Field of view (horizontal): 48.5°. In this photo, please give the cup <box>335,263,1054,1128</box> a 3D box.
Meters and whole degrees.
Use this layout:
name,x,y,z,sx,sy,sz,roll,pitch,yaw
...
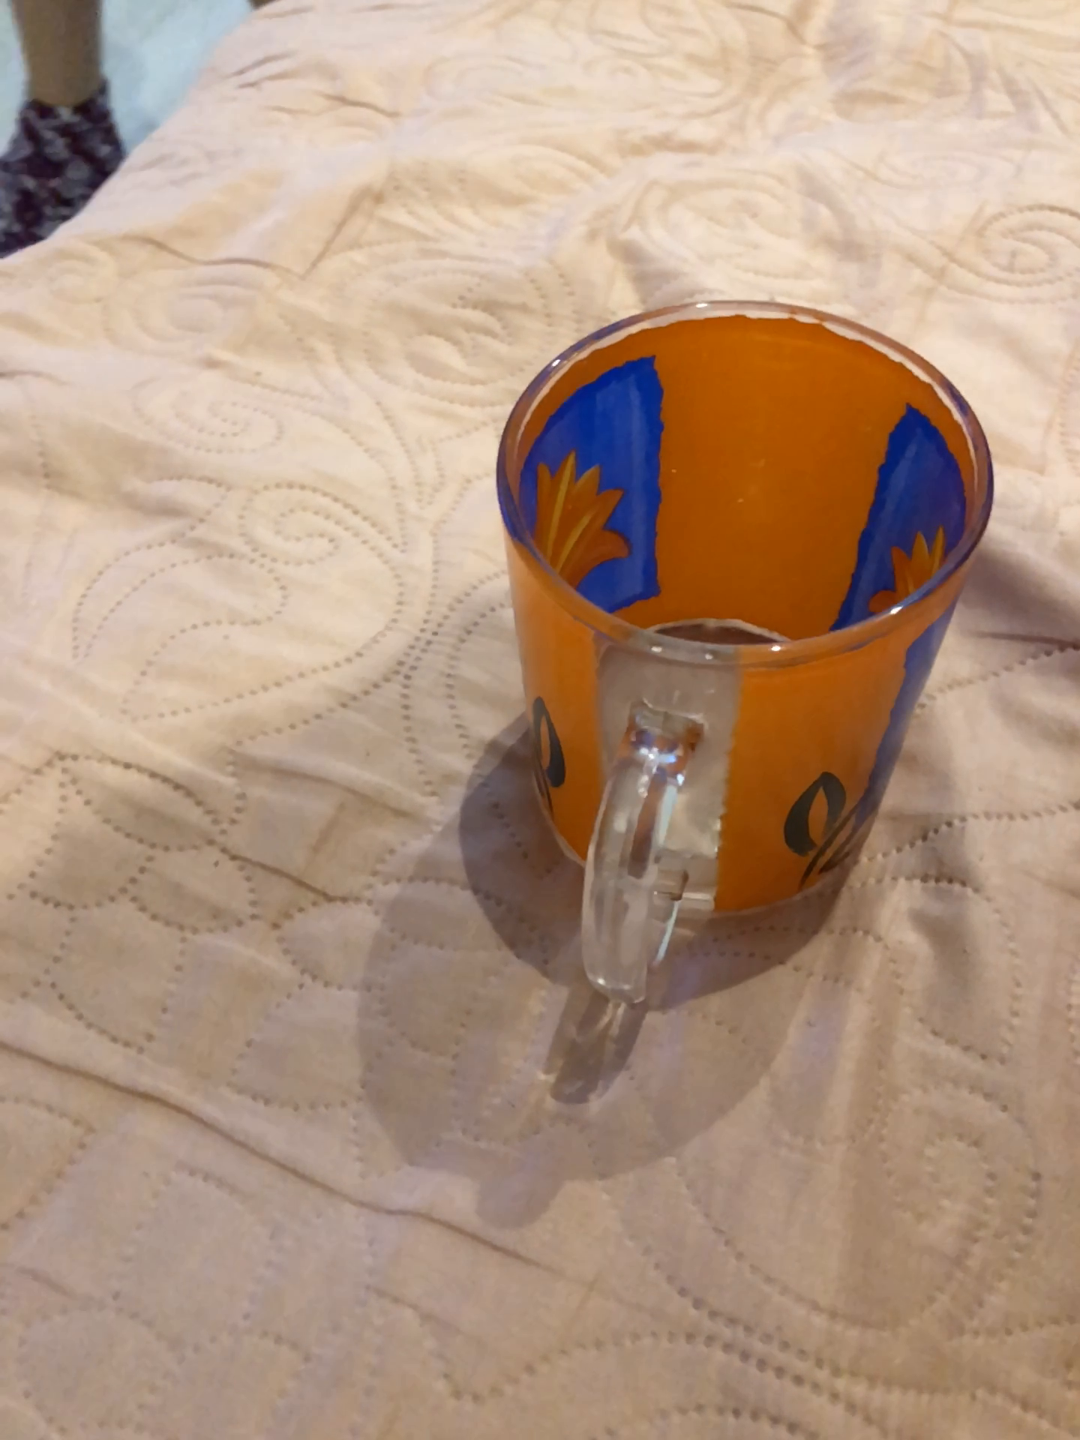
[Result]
name,x,y,z,sx,sy,sz,roll,pitch,yaw
cup,0.032,-0.006,0.219,0.080,0.089,0.111,16,56,15
